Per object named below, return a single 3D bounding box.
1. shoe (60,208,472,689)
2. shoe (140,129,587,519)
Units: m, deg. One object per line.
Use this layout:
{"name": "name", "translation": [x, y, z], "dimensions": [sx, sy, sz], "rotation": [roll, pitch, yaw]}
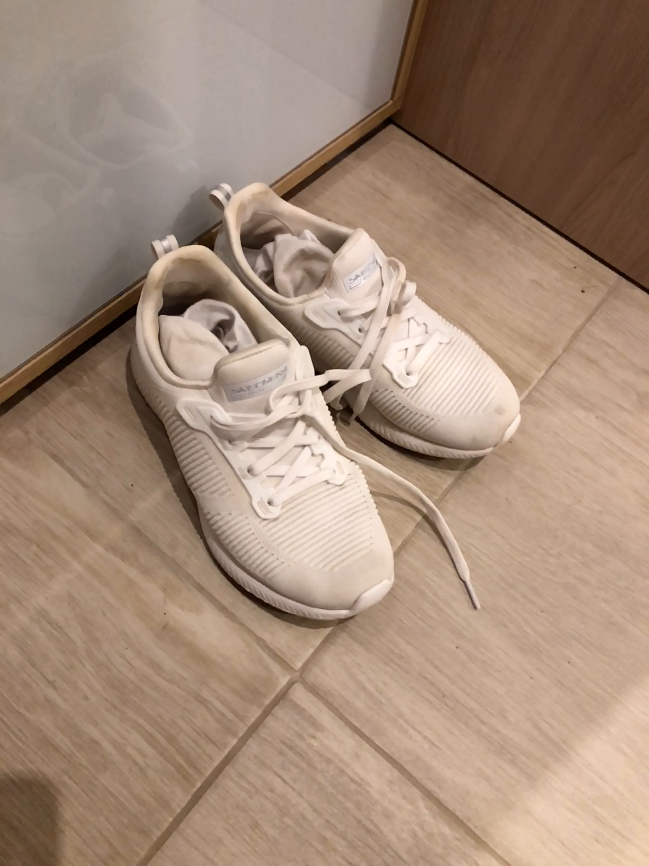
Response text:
{"name": "shoe", "translation": [-0.048, 0.004, 0.456], "dimensions": [0.110, 0.109, 0.271], "rotation": [-28, 69, -22]}
{"name": "shoe", "translation": [0.019, -0.079, 0.511], "dimensions": [0.280, 0.109, 0.110], "rotation": [33, 61, 10]}
